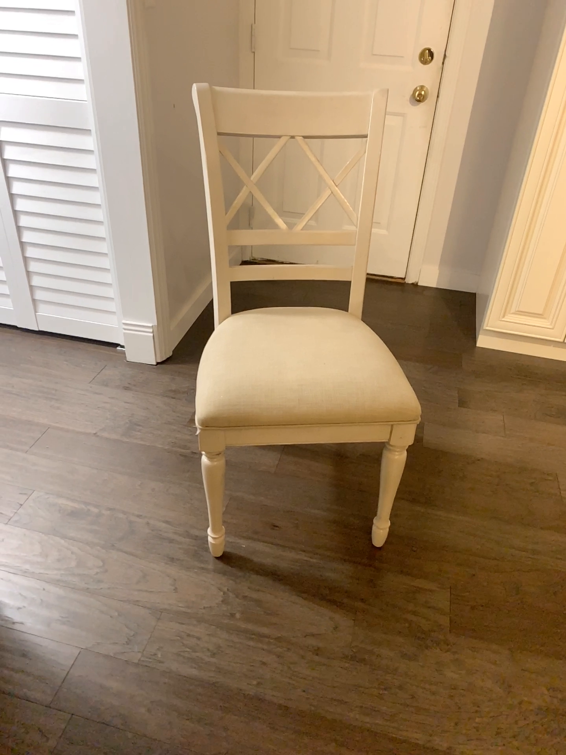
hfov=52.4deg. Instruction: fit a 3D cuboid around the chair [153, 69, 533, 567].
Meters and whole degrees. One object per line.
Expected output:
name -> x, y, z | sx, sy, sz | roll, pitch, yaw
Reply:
chair -> 0.048, -0.138, 1.389 | 0.580, 0.994, 0.614 | -2, 34, -6
